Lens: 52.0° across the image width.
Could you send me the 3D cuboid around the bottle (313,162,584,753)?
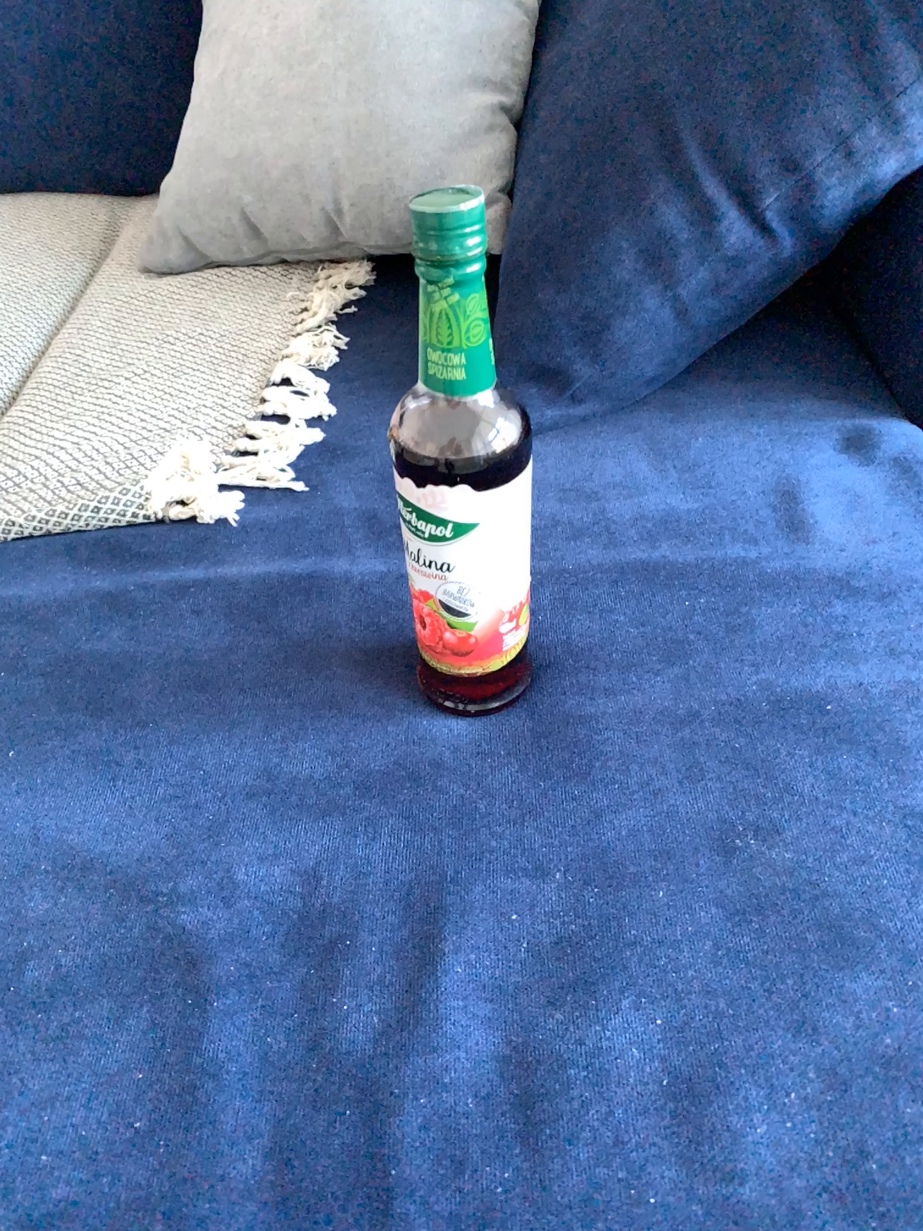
[{"bbox_3d":[0.003,-0.056,0.426,0.070,0.249,0.070,-3,42,3],"label":"bottle"}]
